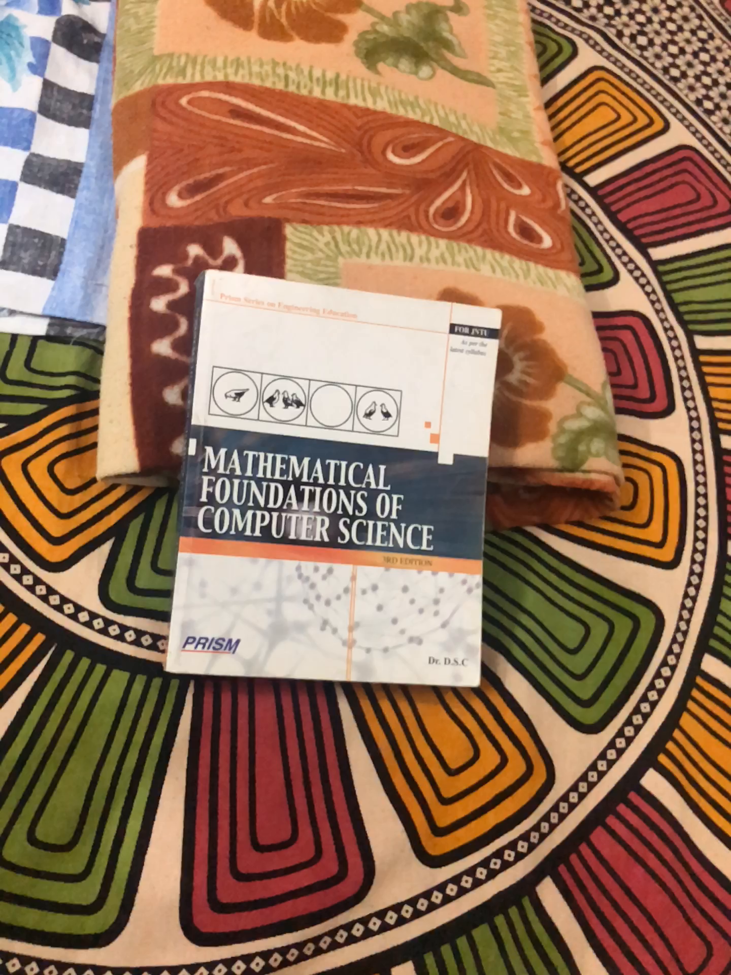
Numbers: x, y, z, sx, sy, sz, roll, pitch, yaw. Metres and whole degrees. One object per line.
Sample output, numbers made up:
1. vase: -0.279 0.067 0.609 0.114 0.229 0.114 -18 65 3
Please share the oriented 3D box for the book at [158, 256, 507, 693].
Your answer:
1. book: -0.017 -0.004 0.497 0.190 0.060 0.240 5 80 -11
